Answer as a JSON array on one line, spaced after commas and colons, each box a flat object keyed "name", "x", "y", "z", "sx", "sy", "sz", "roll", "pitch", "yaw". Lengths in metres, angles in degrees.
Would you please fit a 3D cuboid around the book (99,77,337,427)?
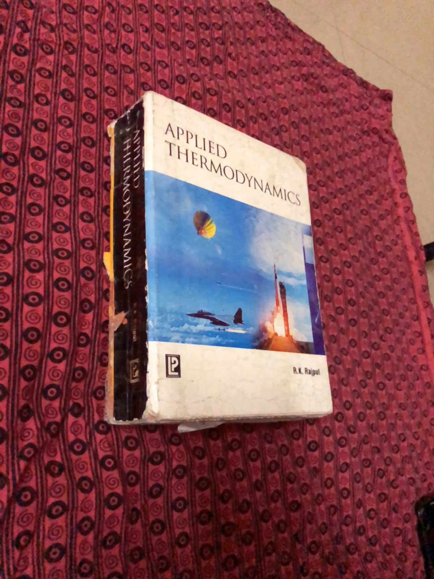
[{"name": "book", "x": 0.003, "y": -0.018, "z": 0.390, "sx": 0.179, "sy": 0.060, "sz": 0.240, "roll": 11, "pitch": 68, "yaw": -38}]
